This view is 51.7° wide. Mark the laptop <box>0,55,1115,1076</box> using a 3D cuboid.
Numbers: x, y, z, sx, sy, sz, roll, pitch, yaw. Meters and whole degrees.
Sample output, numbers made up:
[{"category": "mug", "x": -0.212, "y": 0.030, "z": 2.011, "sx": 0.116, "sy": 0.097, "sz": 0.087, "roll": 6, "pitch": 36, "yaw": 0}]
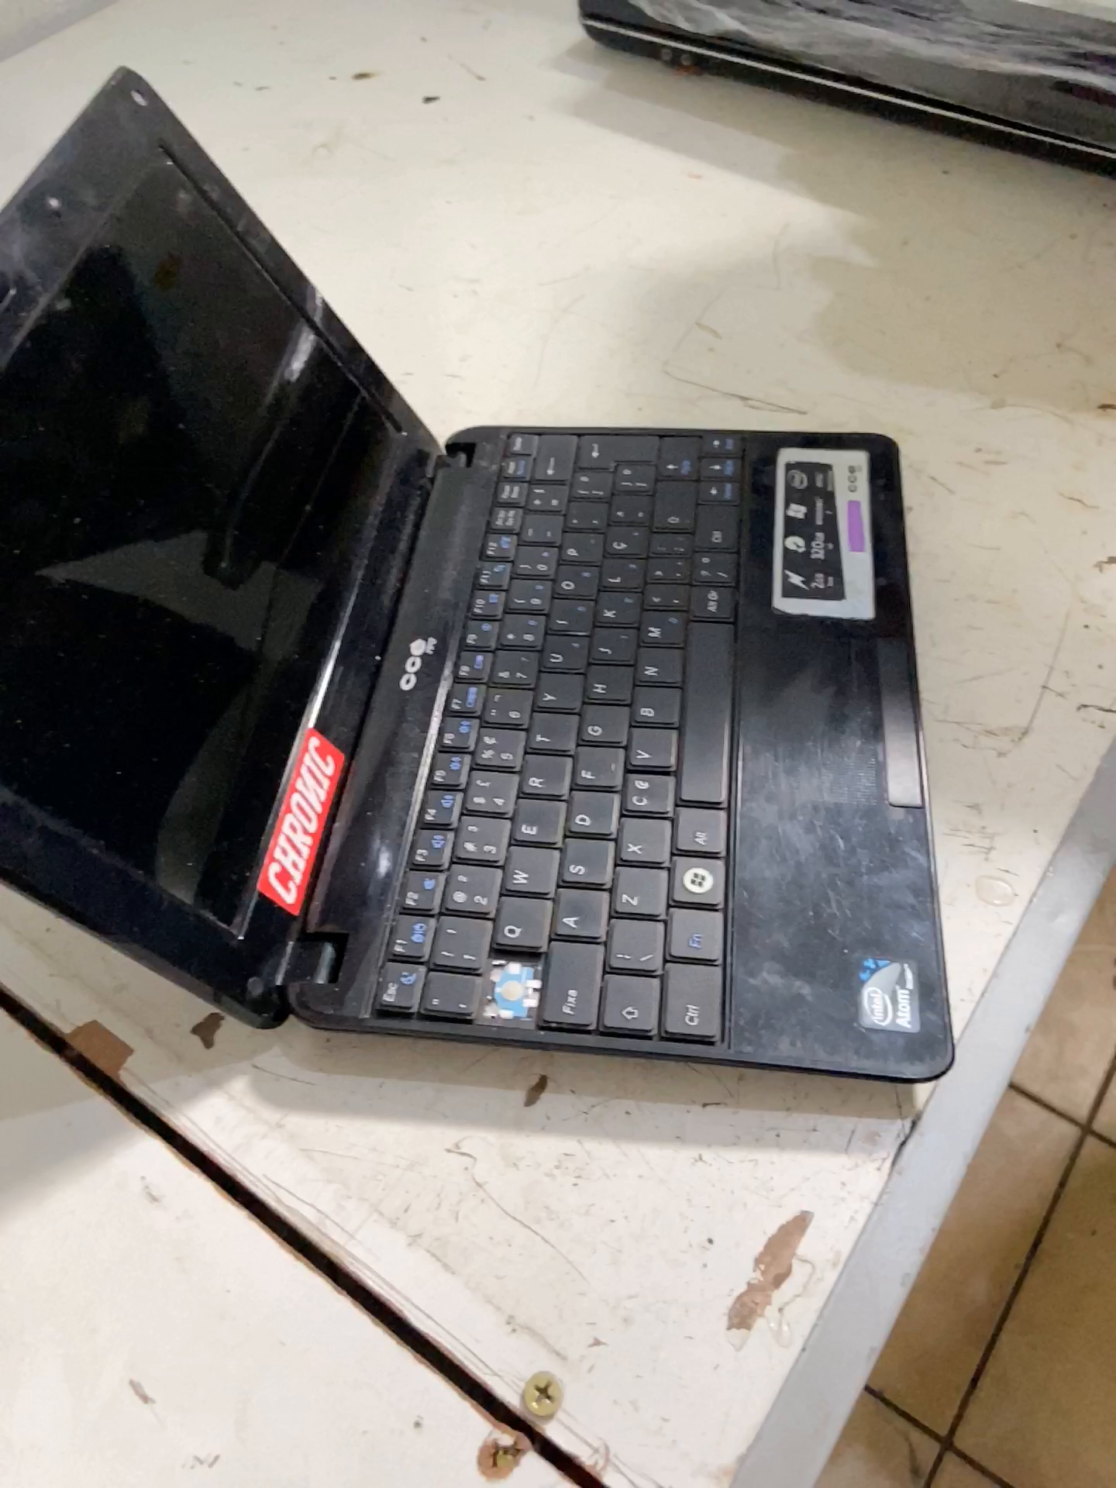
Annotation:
[{"category": "laptop", "x": -0.019, "y": -0.066, "z": 0.329, "sx": 0.257, "sy": 0.137, "sz": 0.254, "roll": 3, "pitch": 53, "yaw": 7}]
